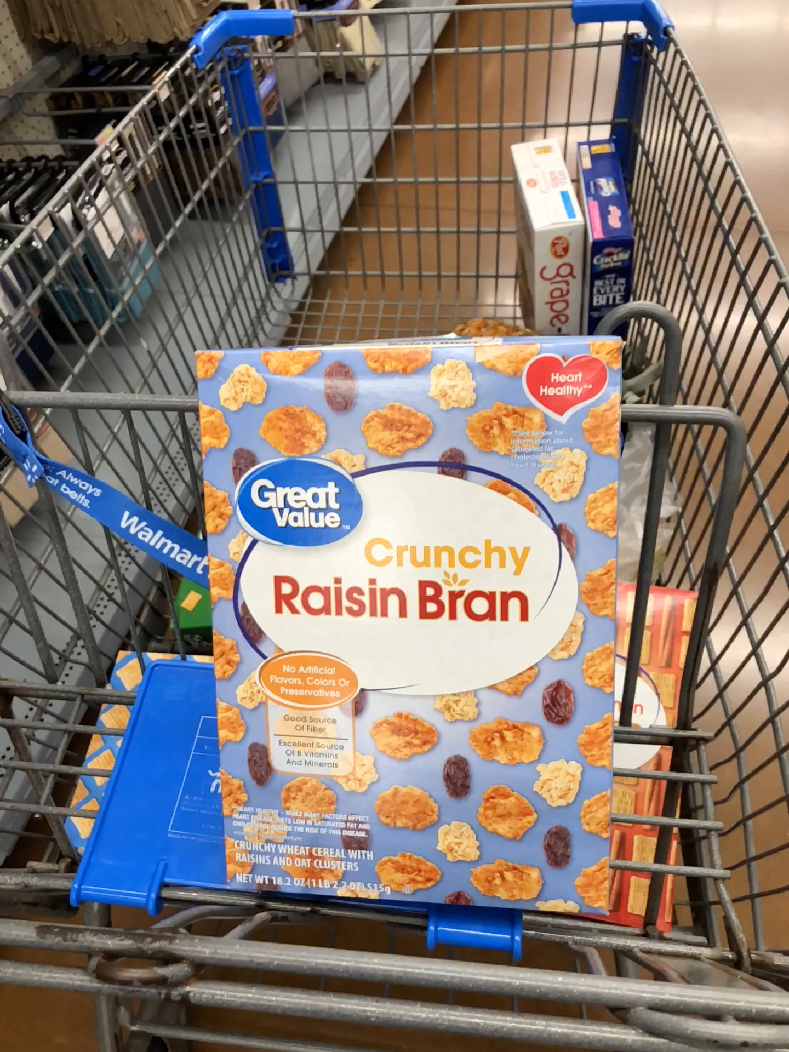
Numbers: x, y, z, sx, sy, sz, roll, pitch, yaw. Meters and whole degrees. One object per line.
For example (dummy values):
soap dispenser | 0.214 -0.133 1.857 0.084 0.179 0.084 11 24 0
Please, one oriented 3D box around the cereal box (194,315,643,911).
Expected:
cereal box | 0.013 0.041 0.444 0.200 0.280 0.070 1 9 7
